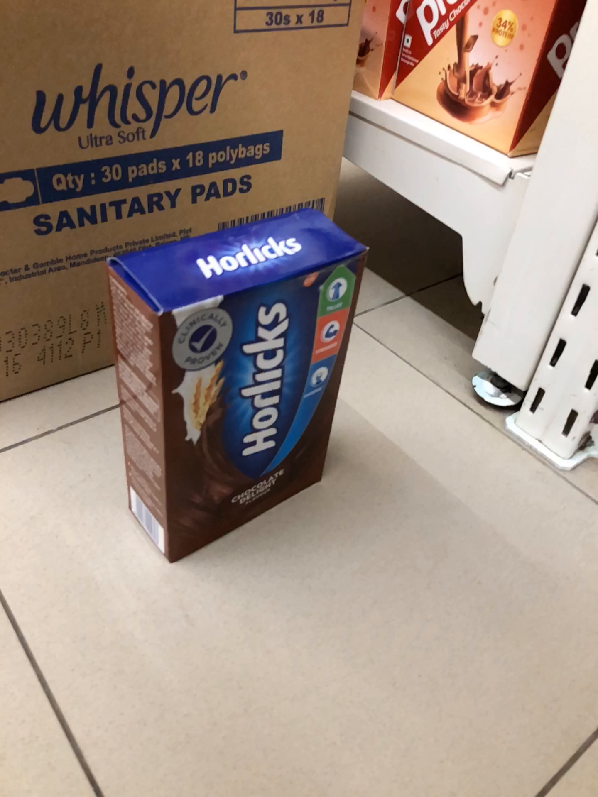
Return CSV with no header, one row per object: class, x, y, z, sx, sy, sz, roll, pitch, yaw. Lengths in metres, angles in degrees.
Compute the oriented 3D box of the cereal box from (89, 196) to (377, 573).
cereal box,-0.039,-0.006,0.407,0.141,0.199,0.060,-24,48,-31
